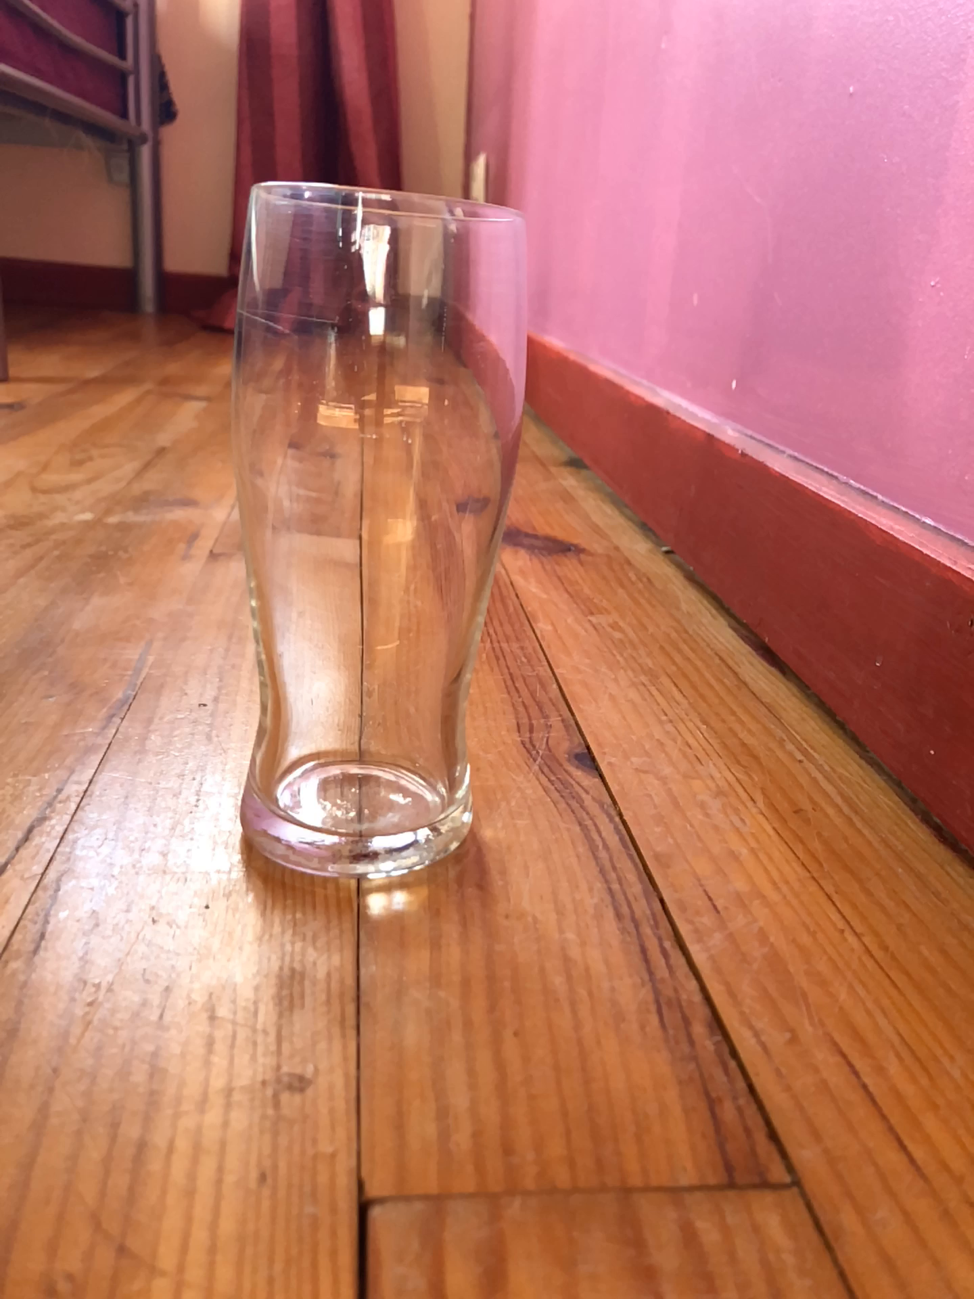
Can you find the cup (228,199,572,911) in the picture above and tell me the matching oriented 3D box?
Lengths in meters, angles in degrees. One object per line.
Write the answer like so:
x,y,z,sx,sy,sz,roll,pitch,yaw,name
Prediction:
-0.026,-0.023,0.251,0.060,0.143,0.064,3,17,-1,cup
